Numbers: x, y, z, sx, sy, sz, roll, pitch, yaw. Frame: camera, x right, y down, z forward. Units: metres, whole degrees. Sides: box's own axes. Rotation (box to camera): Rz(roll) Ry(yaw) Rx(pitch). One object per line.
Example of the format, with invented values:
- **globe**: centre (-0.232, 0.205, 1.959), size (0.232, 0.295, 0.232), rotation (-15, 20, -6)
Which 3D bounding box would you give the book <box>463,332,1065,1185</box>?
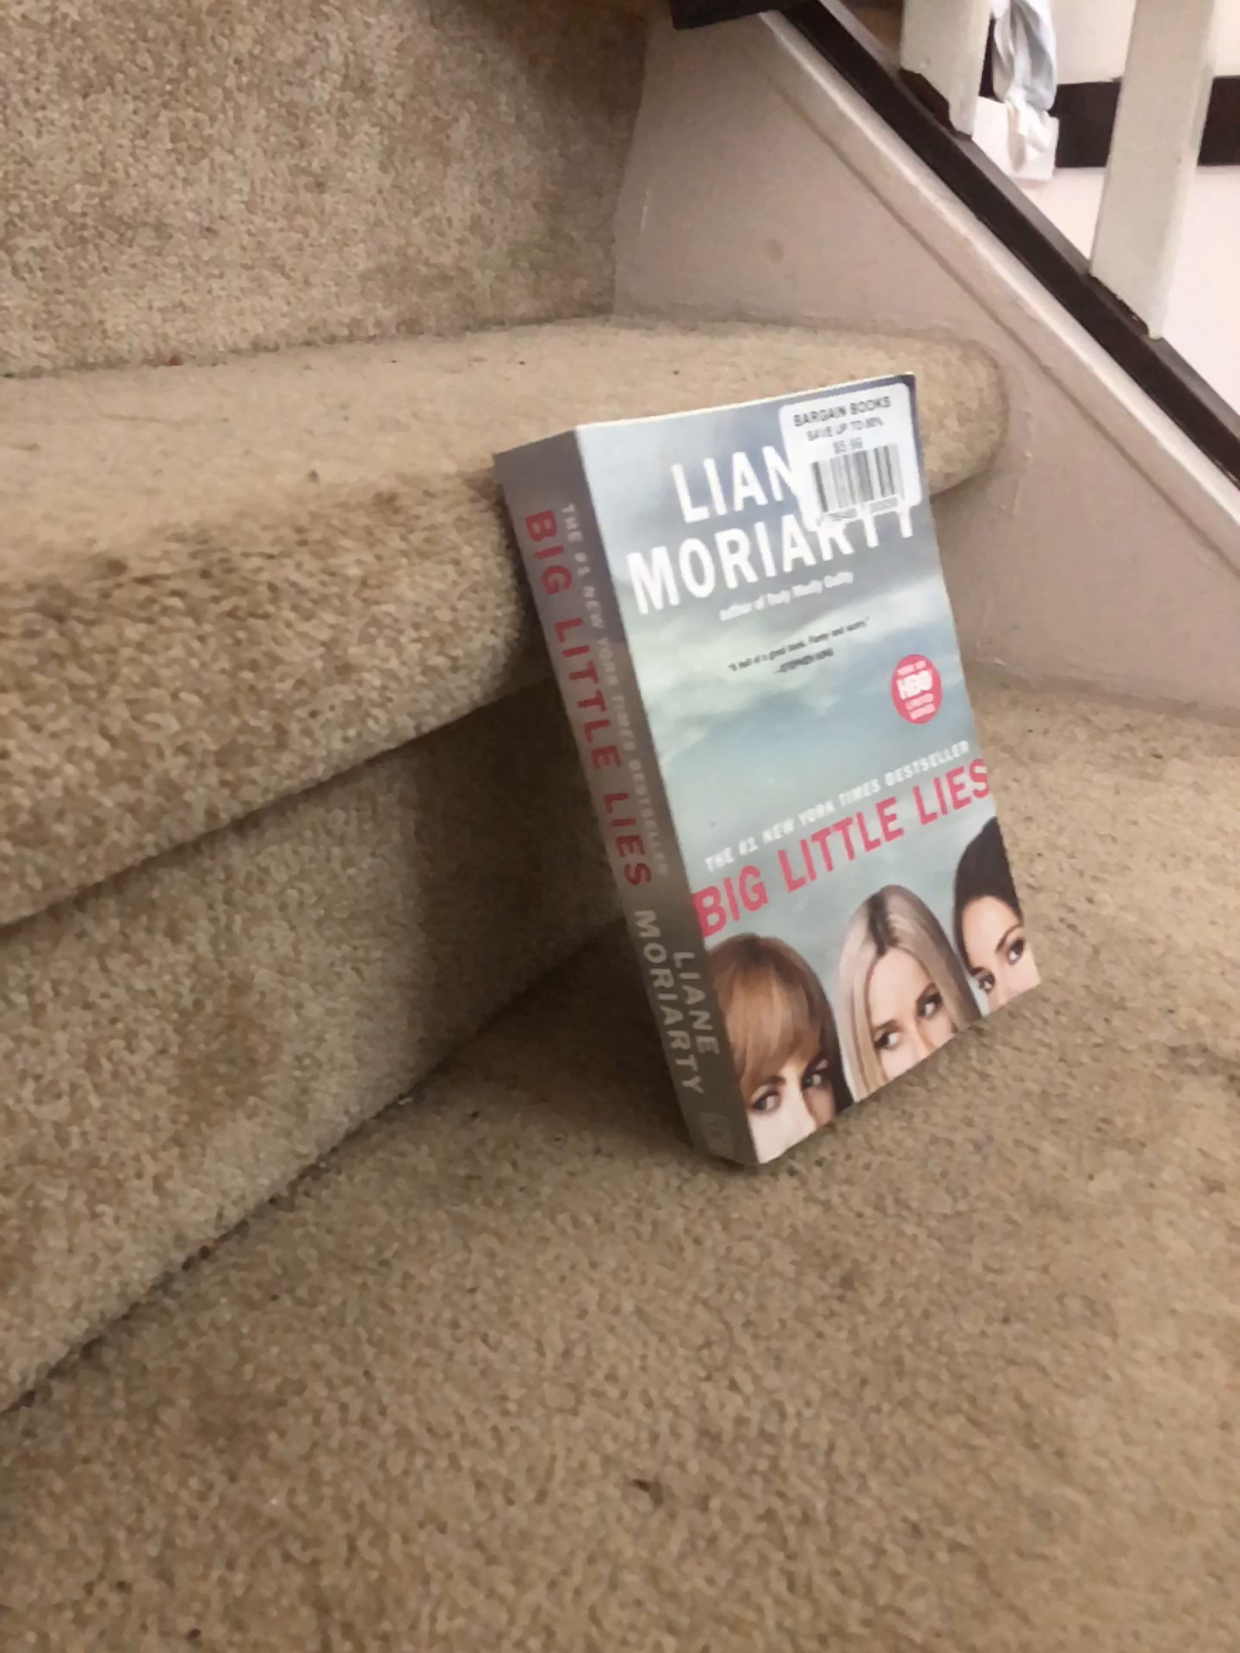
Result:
- **book**: centre (0.055, -0.030, 0.405), size (0.050, 0.209, 0.160), rotation (-5, 13, 44)
